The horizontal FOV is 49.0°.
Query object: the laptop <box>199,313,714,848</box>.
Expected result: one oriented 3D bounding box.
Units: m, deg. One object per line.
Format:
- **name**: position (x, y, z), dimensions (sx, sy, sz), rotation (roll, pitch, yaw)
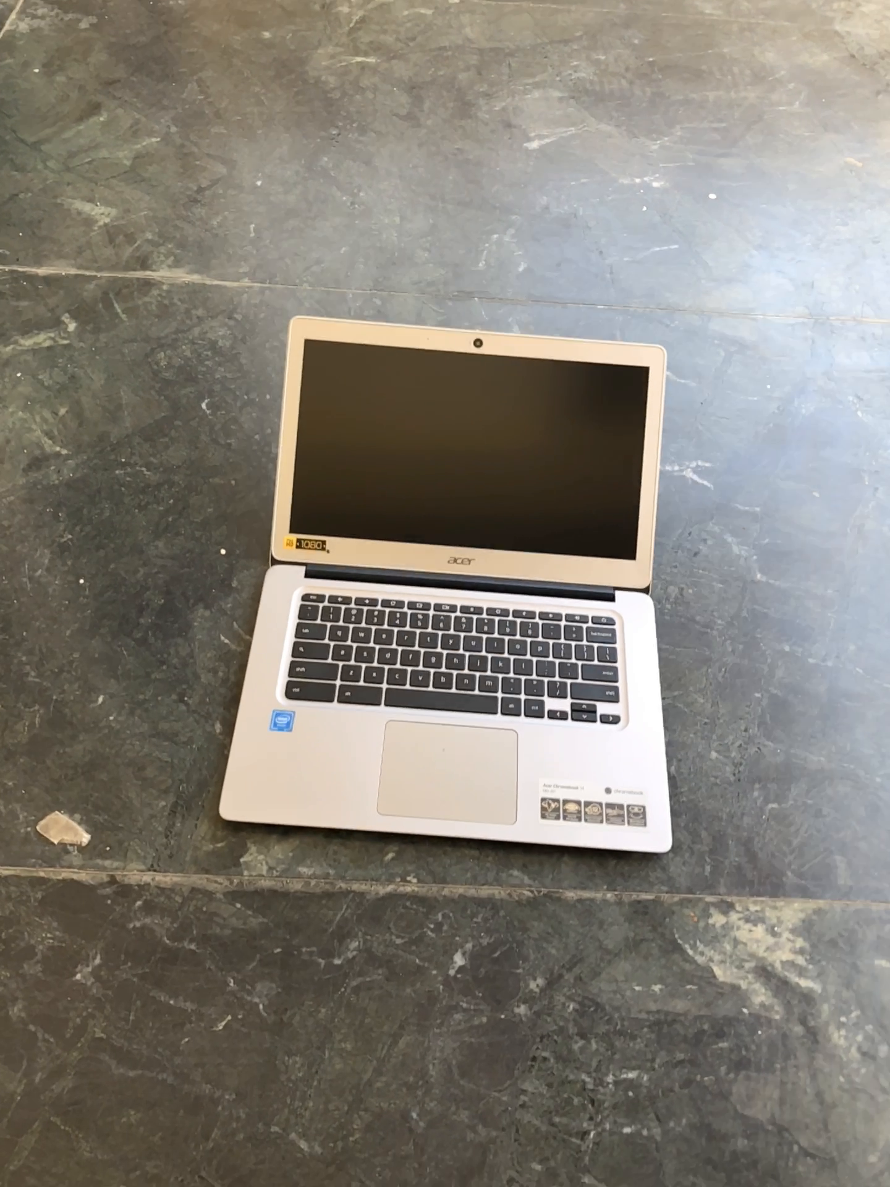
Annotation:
- **laptop**: position (0.017, -0.029, 0.806), dimensions (0.338, 0.117, 0.425), rotation (4, 56, -1)
